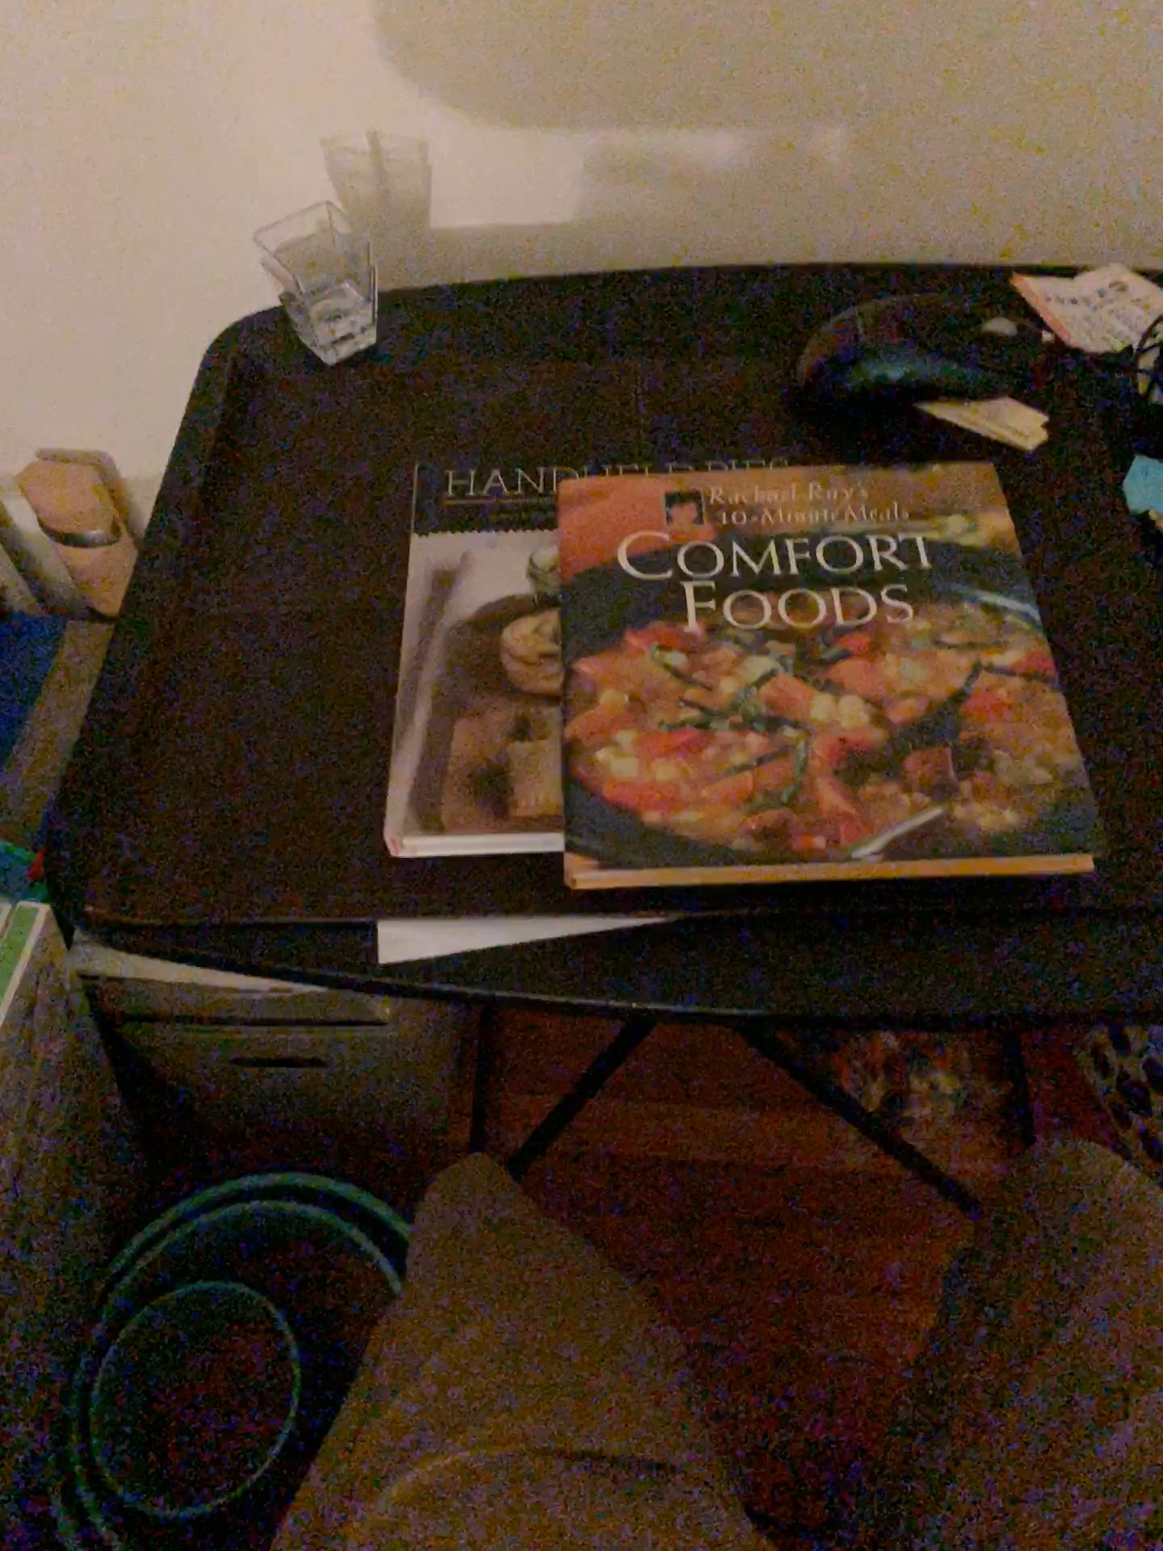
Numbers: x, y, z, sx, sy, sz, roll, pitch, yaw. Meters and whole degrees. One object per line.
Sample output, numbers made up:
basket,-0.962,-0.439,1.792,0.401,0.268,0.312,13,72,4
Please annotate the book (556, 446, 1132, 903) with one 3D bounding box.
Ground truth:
book,0.092,-0.051,0.491,0.200,0.020,0.211,-3,57,1

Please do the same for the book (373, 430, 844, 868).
book,0.008,-0.065,0.524,0.180,0.020,0.221,-3,57,1
